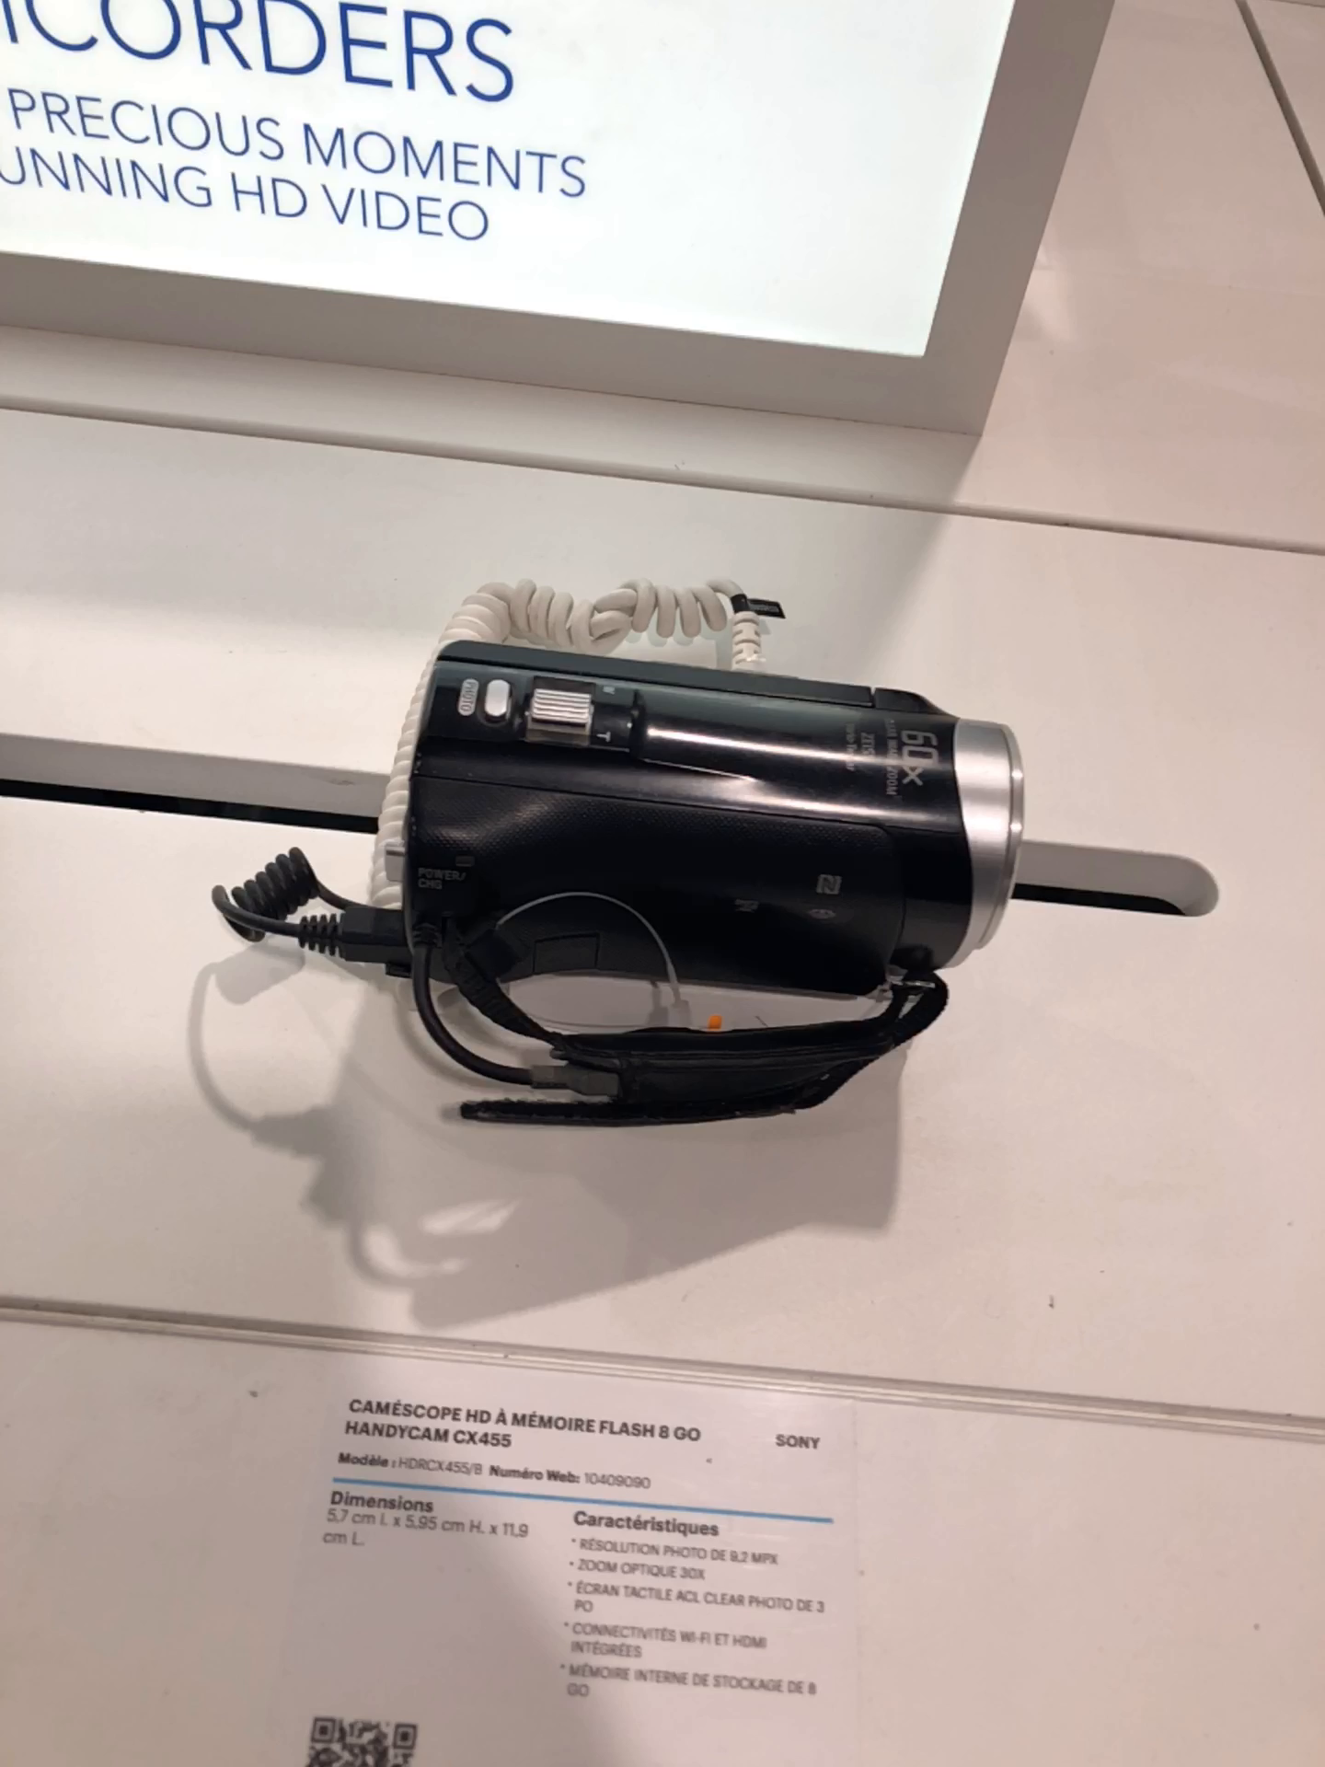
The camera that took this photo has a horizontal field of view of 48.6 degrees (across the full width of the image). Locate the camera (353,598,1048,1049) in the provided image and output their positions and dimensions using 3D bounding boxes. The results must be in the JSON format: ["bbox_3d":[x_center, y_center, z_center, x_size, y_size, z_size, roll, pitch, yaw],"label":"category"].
[{"bbox_3d":[0.006,-0.011,0.294,0.121,0.058,0.057,5,53,-2],"label":"camera"}]
